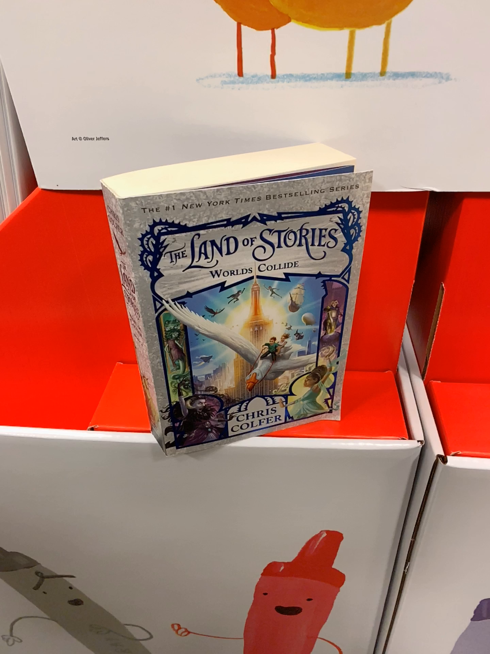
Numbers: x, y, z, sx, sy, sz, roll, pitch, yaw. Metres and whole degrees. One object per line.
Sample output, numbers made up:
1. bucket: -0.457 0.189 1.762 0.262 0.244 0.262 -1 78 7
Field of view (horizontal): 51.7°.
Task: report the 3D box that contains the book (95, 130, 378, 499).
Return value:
1. book: 0.000 -0.004 0.314 0.130 0.193 0.065 -18 38 -19
